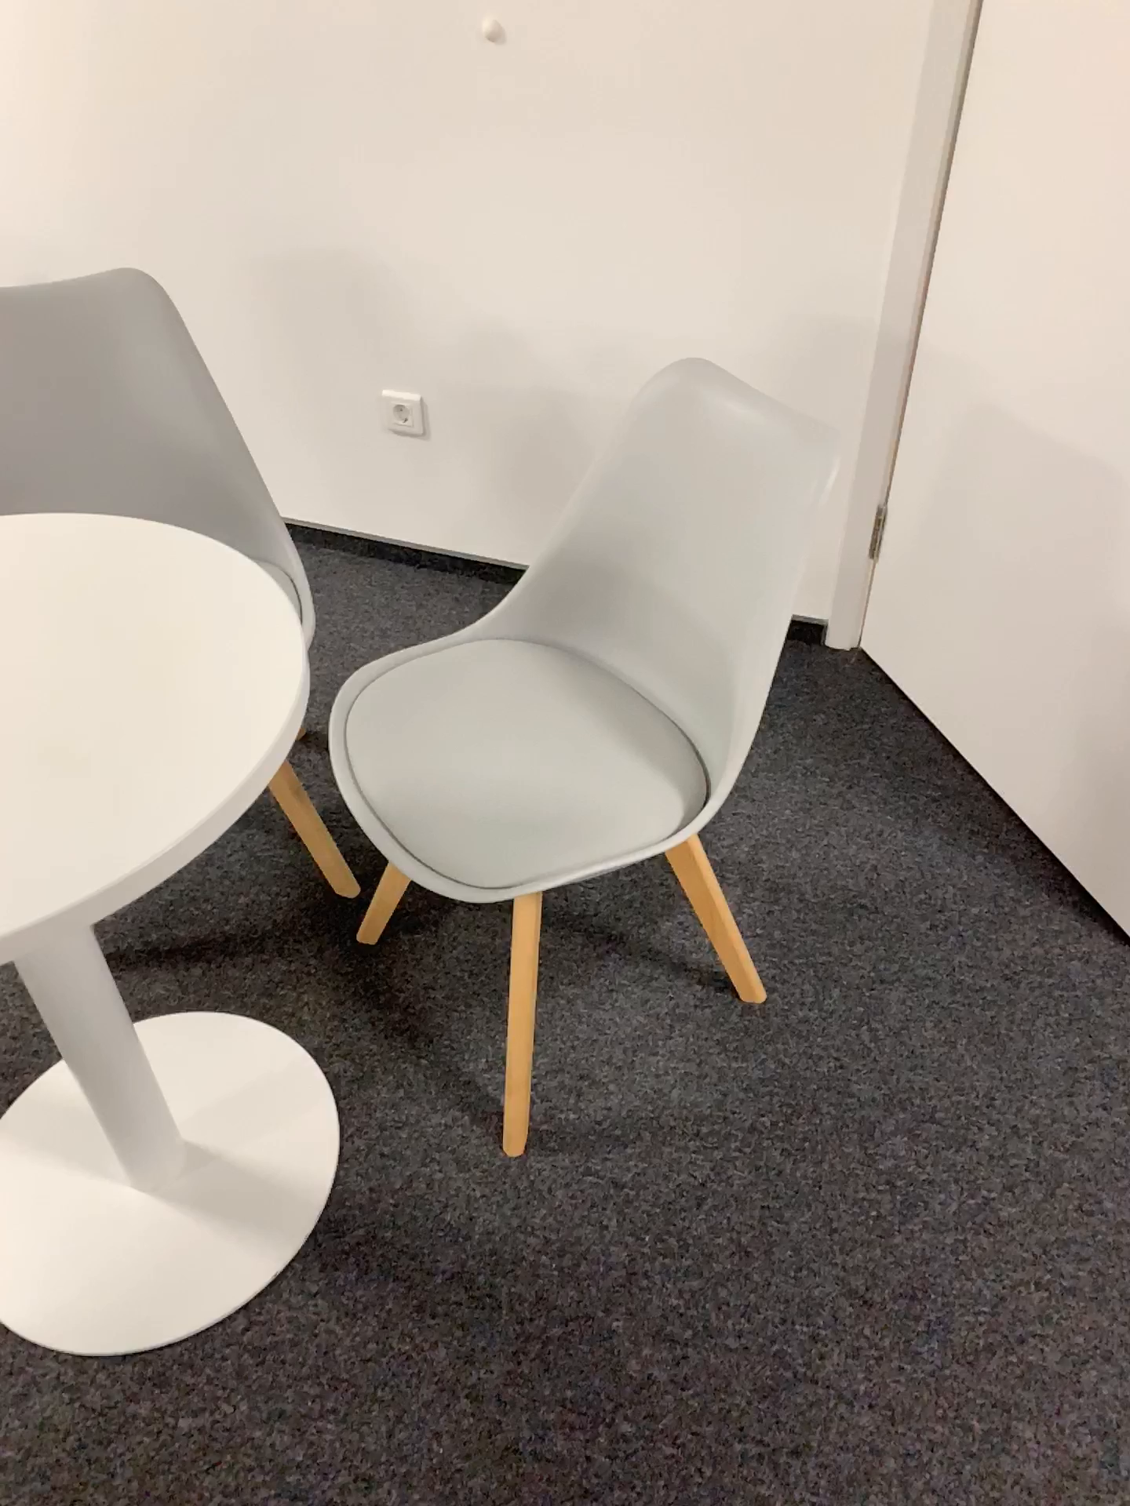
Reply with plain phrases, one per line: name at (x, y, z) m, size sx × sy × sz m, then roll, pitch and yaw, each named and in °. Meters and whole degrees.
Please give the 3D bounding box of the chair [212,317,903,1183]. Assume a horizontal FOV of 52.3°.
chair at (-0.014, 0.002, 1.388) m, size 0.522 × 0.810 × 0.445 m, roll -22°, pitch 45°, yaw -23°
